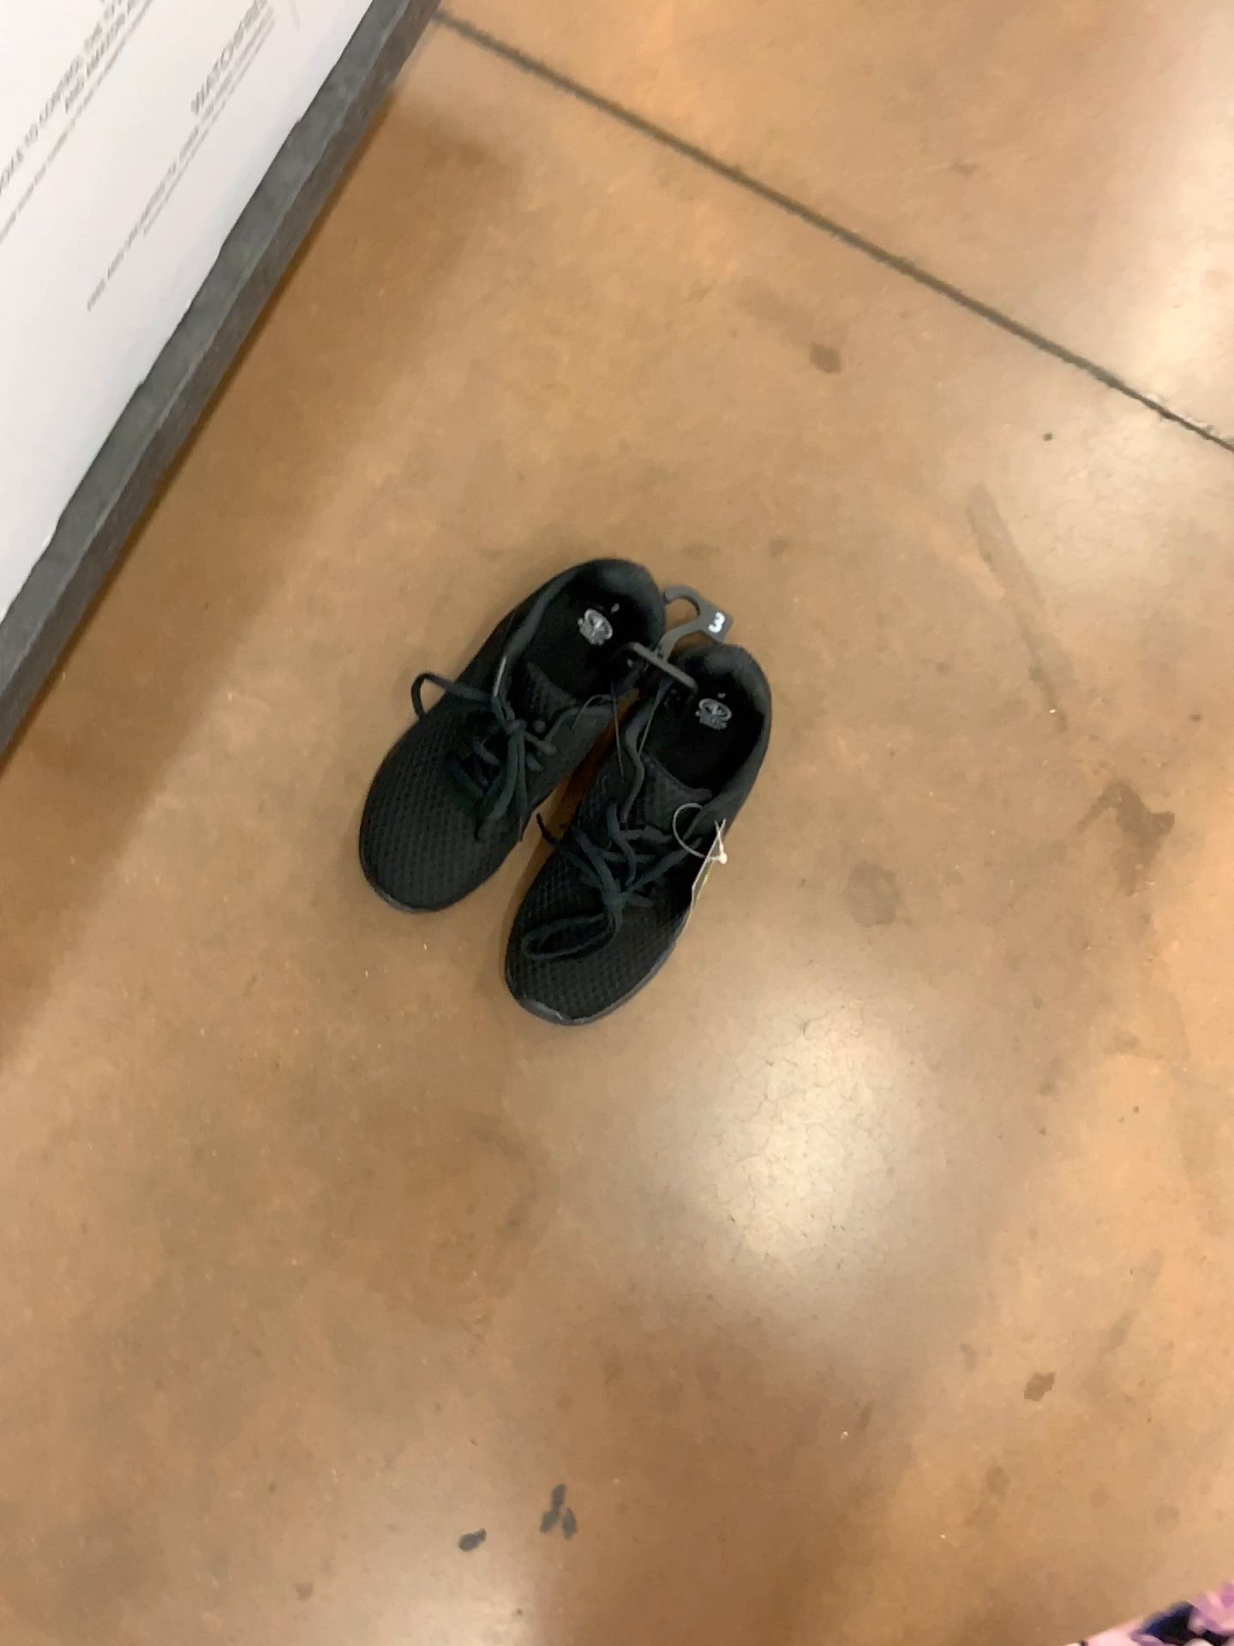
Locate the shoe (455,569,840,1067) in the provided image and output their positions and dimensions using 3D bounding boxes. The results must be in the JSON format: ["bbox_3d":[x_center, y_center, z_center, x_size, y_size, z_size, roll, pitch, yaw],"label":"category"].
[{"bbox_3d":[0.014,-0.001,0.659,0.090,0.080,0.230,29,84,-1],"label":"shoe"}]

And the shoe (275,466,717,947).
[{"bbox_3d":[-0.059,-0.055,0.654,0.090,0.080,0.230,38,84,0],"label":"shoe"}]
